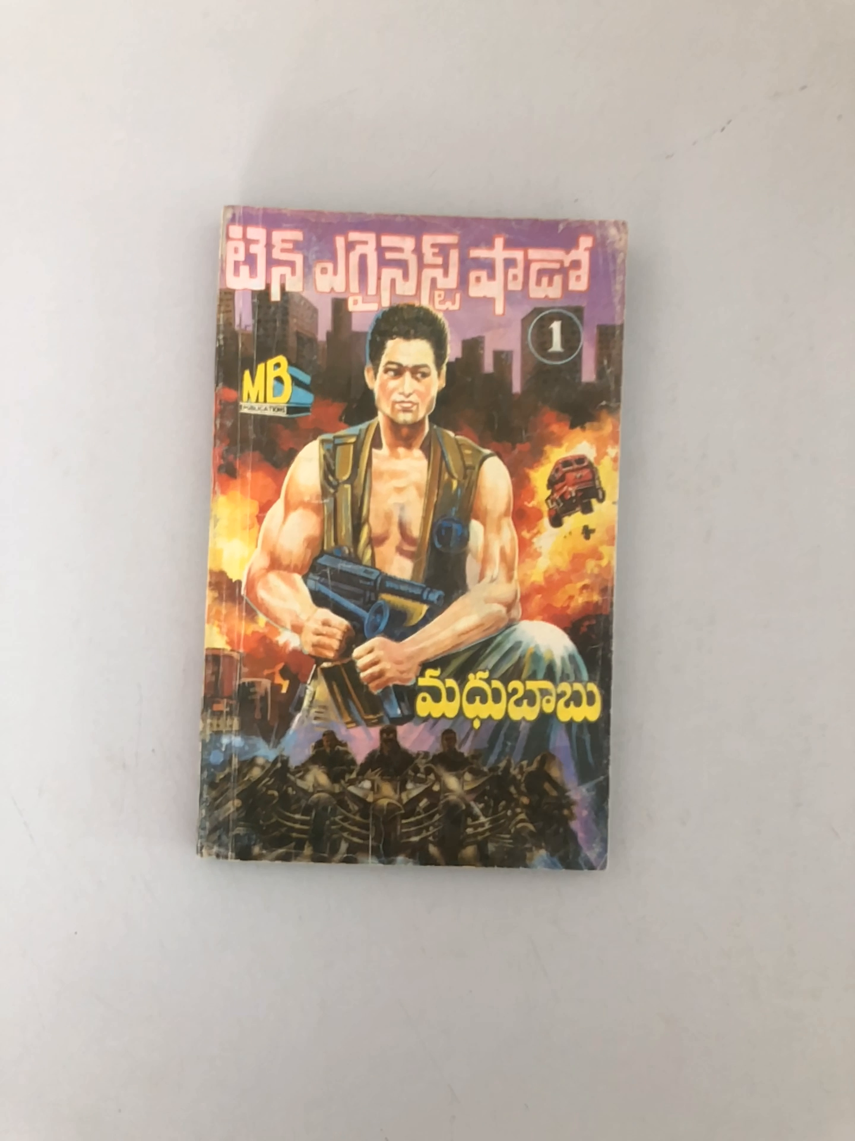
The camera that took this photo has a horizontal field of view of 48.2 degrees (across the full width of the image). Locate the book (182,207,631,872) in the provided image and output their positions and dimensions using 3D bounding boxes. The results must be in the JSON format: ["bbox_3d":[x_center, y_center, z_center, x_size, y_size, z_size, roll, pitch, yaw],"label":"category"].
[{"bbox_3d":[-0.004,-0.008,0.225,0.100,0.010,0.151,1,88,0],"label":"book"}]
